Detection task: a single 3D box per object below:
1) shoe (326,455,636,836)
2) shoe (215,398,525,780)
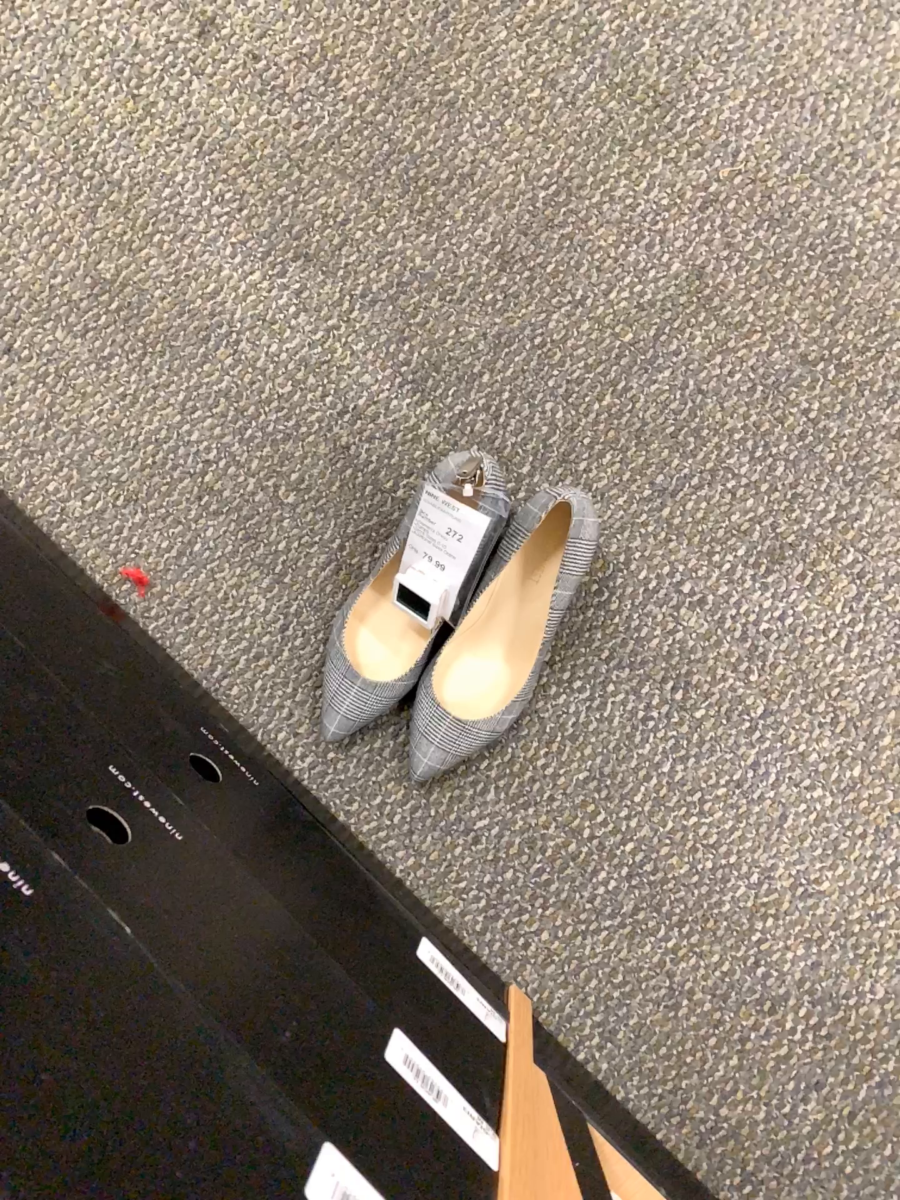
[{"bbox_3d":[0.025,0.031,0.659,0.090,0.150,0.230,32,92,5],"label":"shoe"},{"bbox_3d":[-0.046,-0.006,0.658,0.090,0.150,0.230,32,92,5],"label":"shoe"}]
